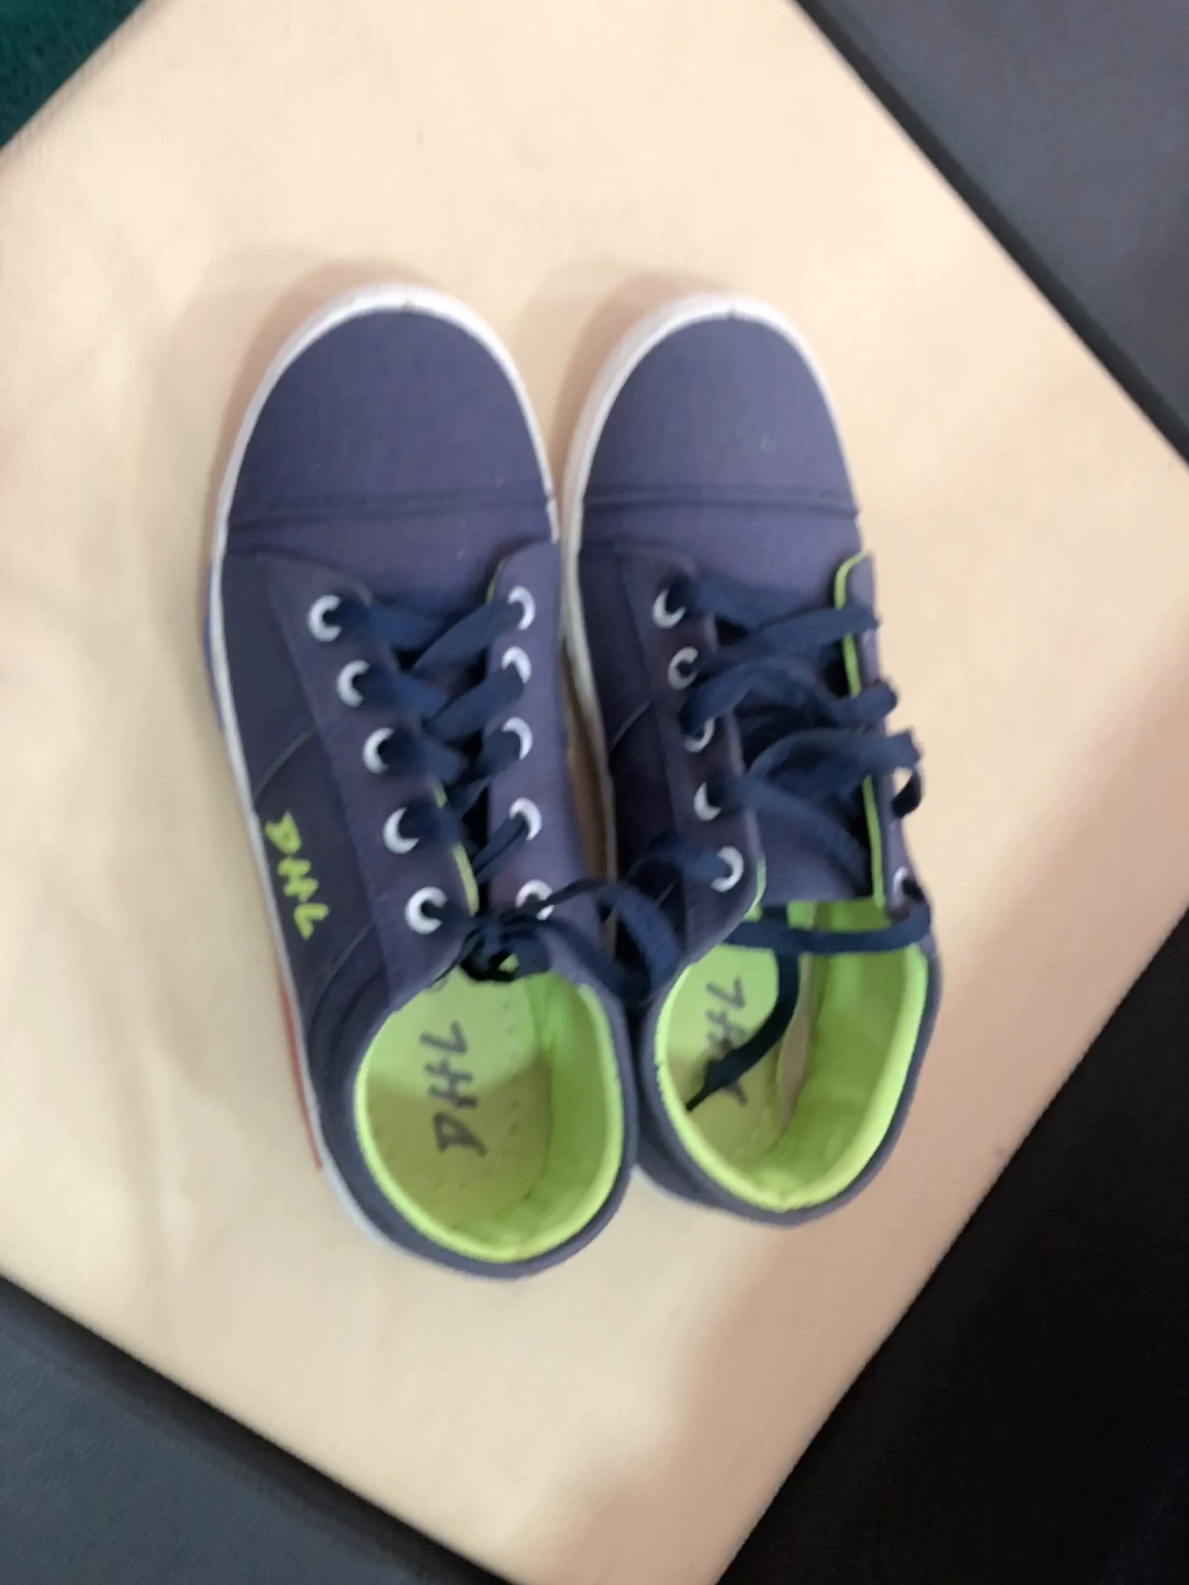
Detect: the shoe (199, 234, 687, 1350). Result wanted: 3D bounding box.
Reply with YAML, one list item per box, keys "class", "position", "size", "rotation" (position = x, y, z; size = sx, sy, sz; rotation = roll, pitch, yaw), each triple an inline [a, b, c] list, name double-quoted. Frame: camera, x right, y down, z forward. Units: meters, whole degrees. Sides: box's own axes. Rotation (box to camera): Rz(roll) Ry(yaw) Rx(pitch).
- class: "shoe"
  position: [-0.044, -0.003, 0.363]
  size: [0.090, 0.090, 0.260]
  rotation: [-7, 96, -18]

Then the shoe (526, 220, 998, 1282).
- class: "shoe"
  position: [0.047, -0.013, 0.388]
  size: [0.090, 0.080, 0.270]
  rotation: [-7, 96, -18]
